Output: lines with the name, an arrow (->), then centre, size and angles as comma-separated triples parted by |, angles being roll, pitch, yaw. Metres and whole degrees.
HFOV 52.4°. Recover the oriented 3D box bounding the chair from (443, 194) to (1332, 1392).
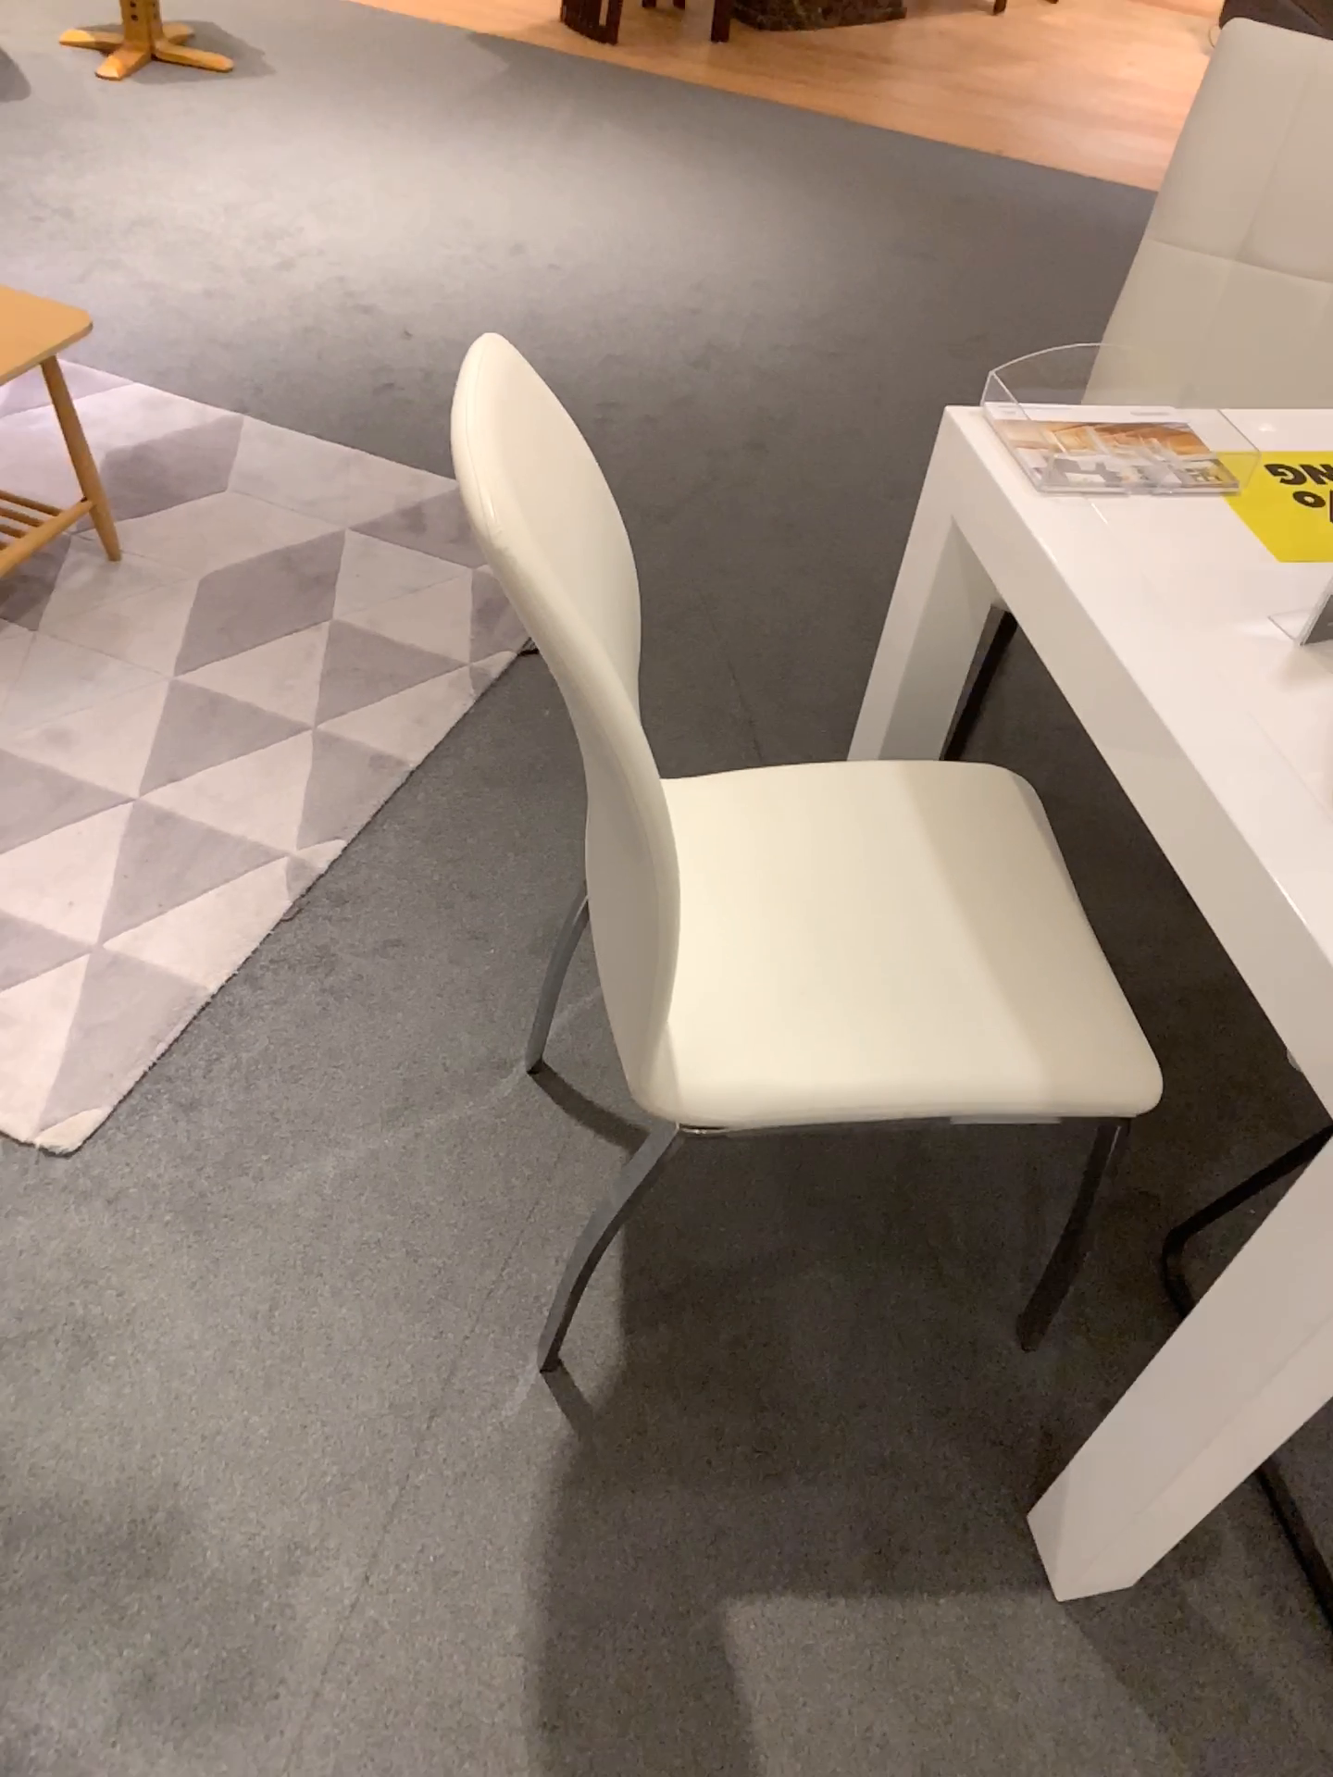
chair -> 0.134, -0.007, 1.219 | 0.644, 0.955, 0.483 | 0, 46, -8
